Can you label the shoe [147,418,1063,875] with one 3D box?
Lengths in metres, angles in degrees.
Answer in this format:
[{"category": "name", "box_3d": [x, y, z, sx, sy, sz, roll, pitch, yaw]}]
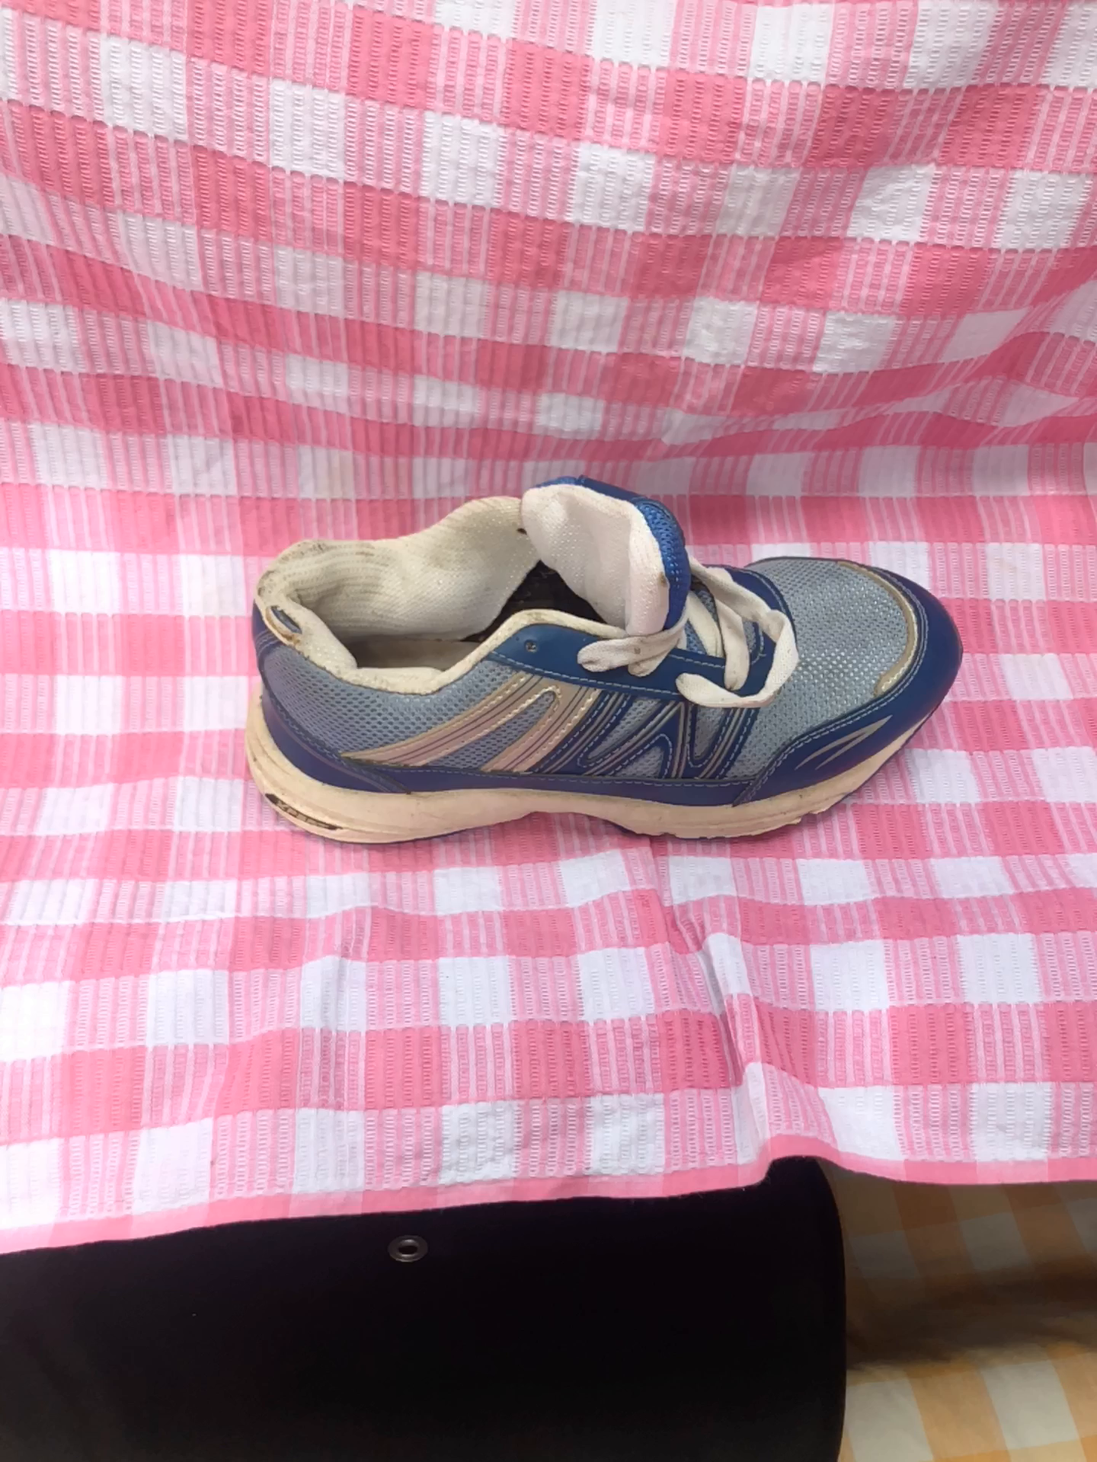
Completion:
[{"category": "shoe", "box_3d": [0.016, -0.032, 0.443, 0.280, 0.100, 0.110, -4, 49, -3]}]
